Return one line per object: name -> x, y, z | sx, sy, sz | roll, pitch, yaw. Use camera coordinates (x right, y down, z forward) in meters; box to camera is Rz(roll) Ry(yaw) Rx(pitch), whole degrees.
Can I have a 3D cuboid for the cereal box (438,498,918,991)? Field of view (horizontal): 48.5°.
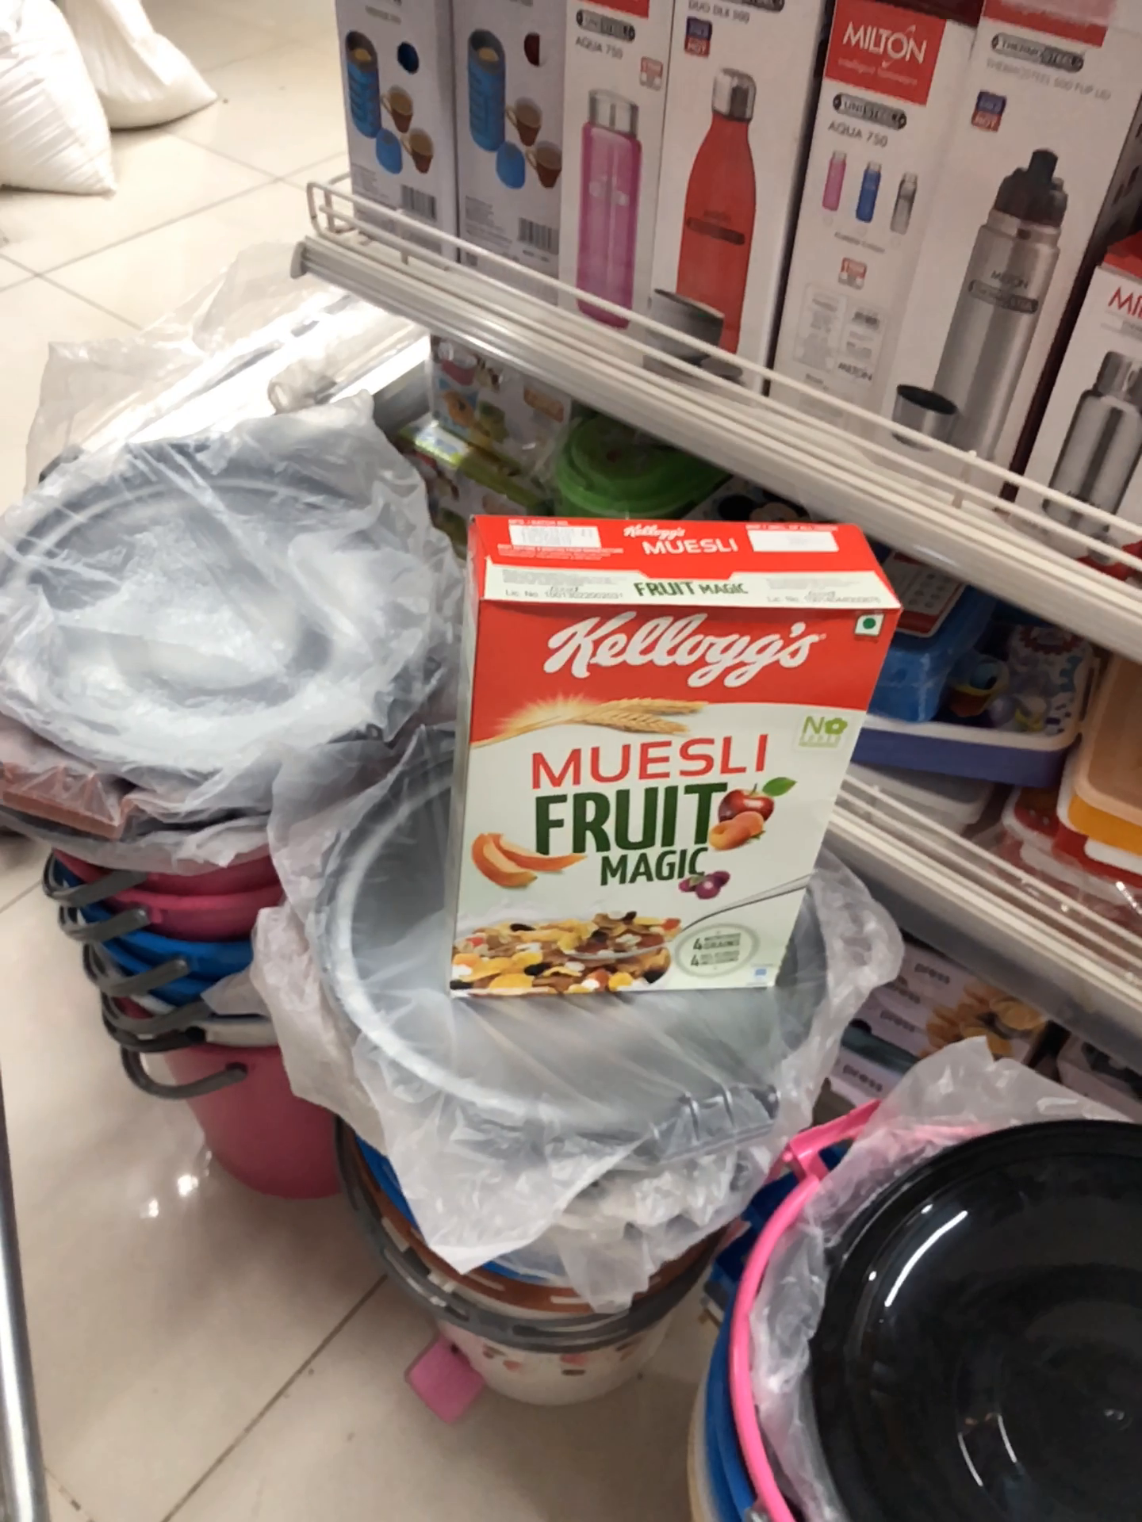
cereal box -> 0.035, 0.003, 0.623 | 0.190, 0.249, 0.070 | 0, 40, -9
